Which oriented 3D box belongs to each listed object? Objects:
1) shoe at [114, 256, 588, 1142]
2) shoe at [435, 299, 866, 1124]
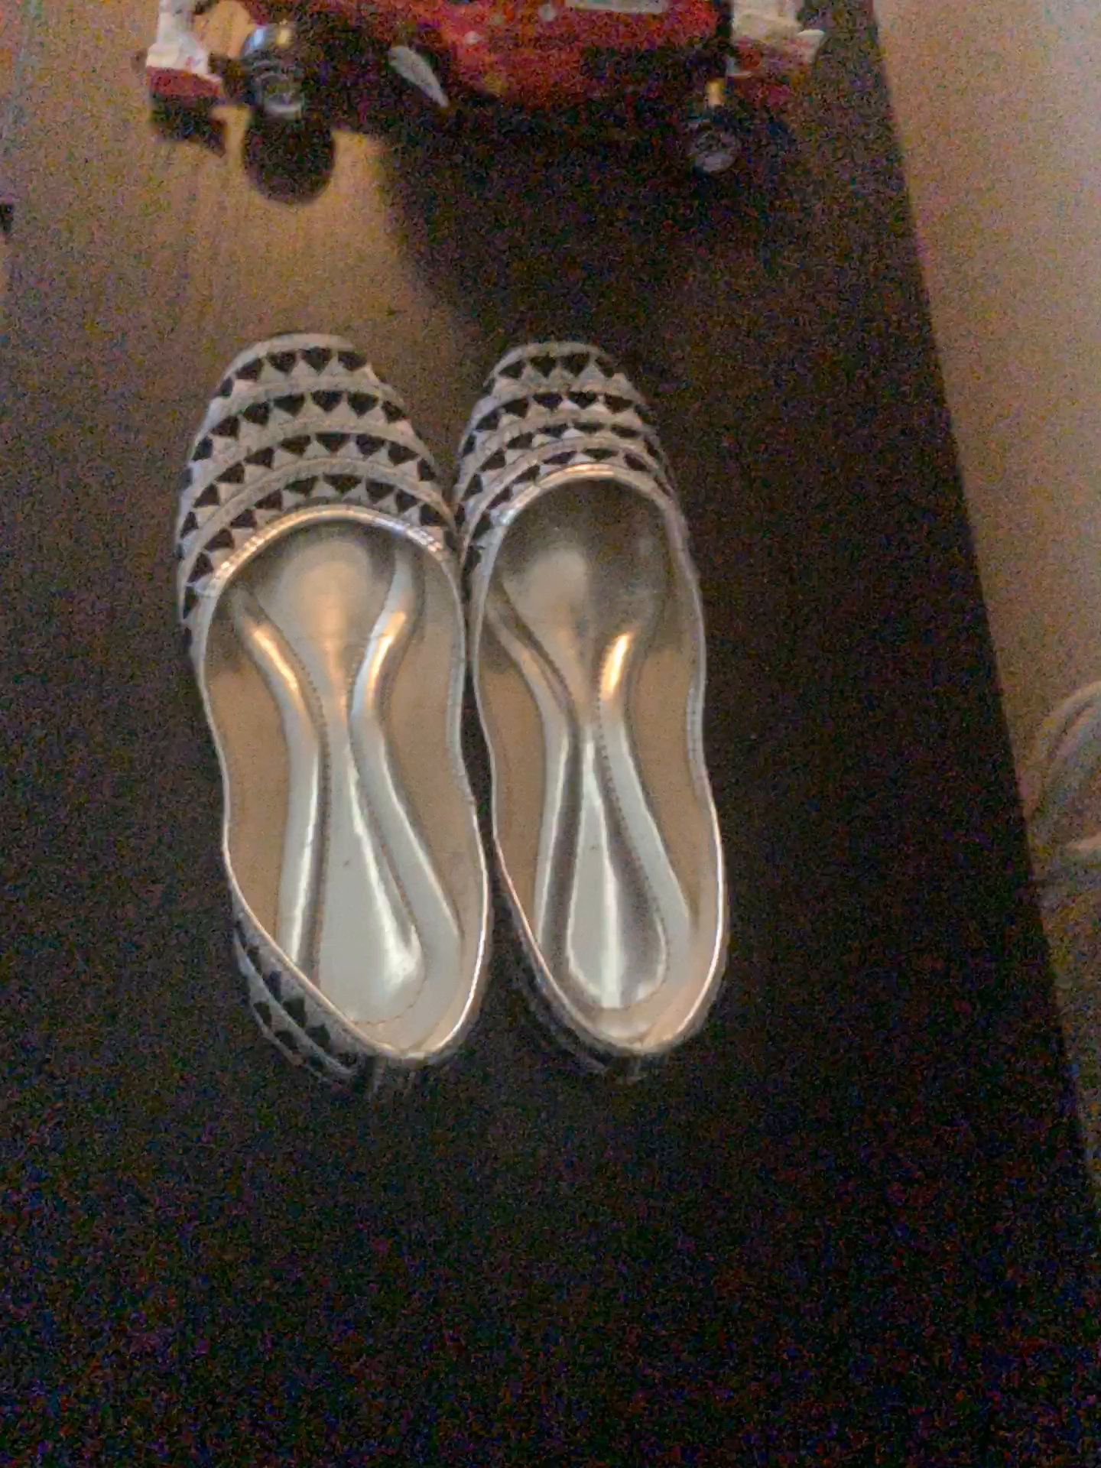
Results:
[{"bbox_3d":[-0.070,-0.017,0.367,0.100,0.080,0.261,-7,73,-14],"label":"shoe"},{"bbox_3d":[0.023,-0.011,0.402,0.100,0.080,0.271,-2,72,-12],"label":"shoe"}]
